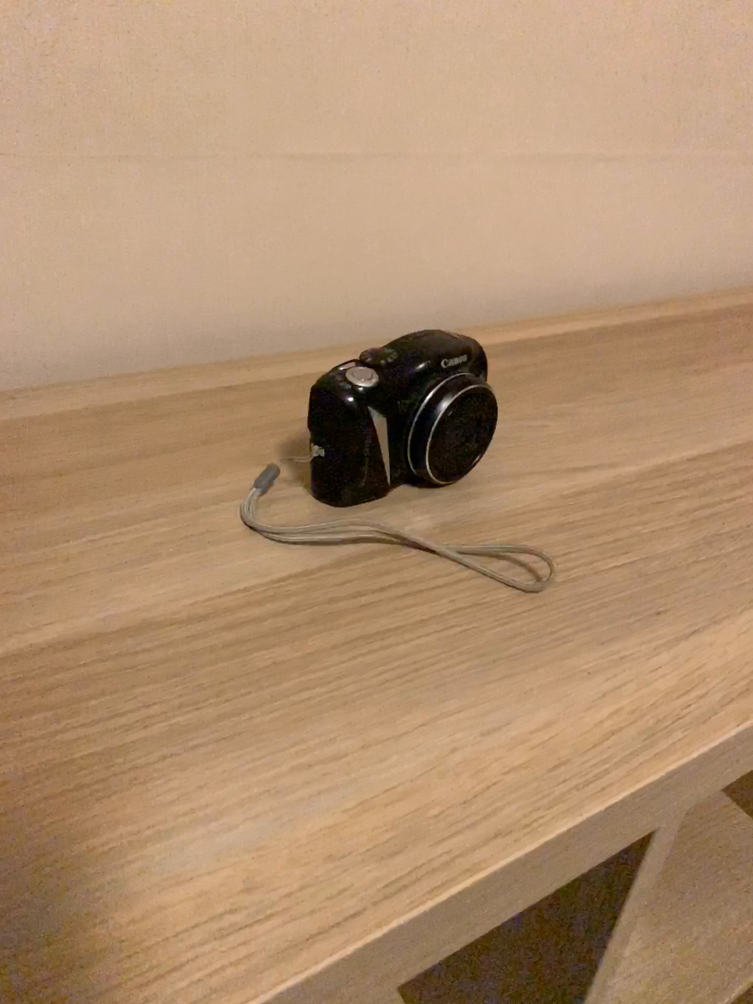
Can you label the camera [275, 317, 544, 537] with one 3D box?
[{"bbox_3d":[0.018,-0.044,0.389,0.068,0.059,0.121,28,37,34],"label":"camera"}]
